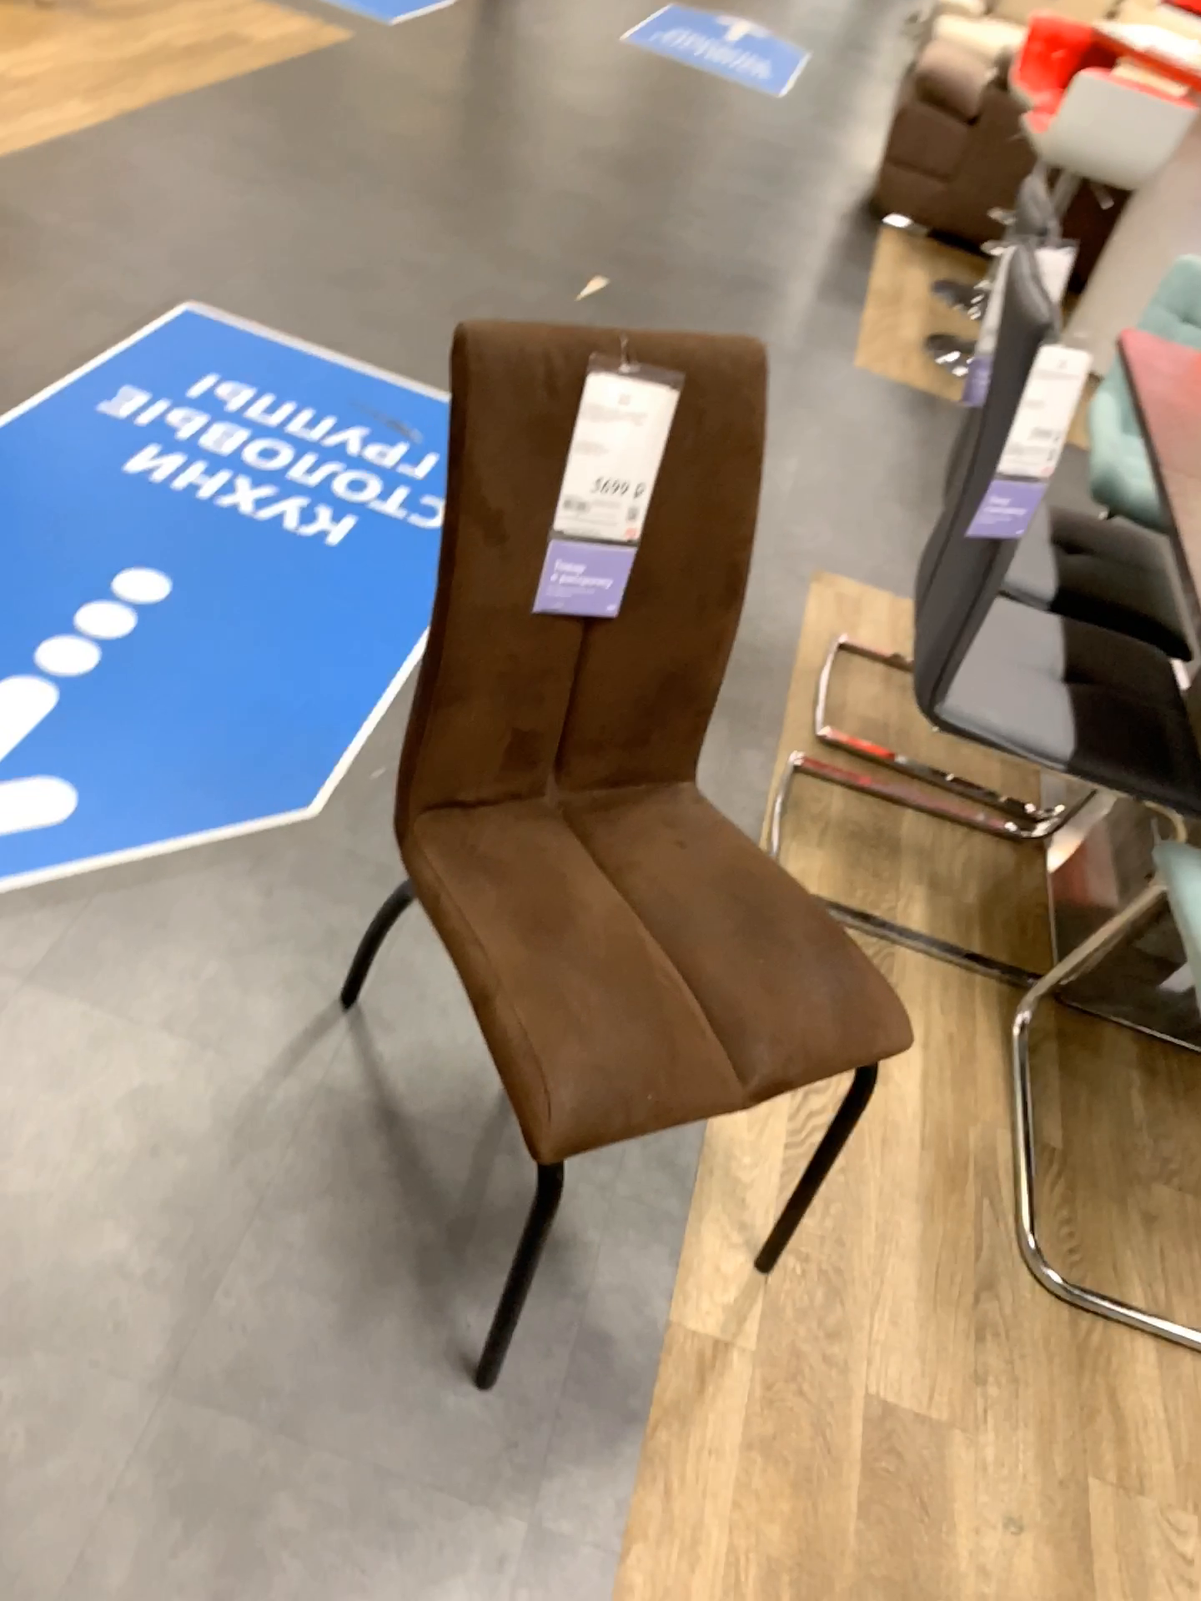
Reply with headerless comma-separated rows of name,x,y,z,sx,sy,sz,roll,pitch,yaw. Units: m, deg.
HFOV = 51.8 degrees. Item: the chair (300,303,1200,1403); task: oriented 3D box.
chair,0.032,0.082,1.334,0.441,0.964,0.592,-9,48,-30
